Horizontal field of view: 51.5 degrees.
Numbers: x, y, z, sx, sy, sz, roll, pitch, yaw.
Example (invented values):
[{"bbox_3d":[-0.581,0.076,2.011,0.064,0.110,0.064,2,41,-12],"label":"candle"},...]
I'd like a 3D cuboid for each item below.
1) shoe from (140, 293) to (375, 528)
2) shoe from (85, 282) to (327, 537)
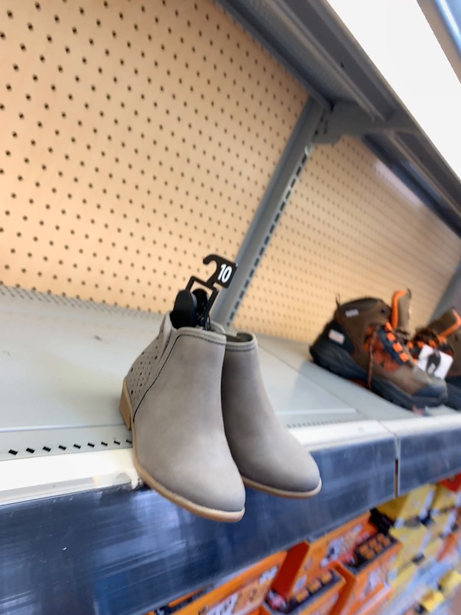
[{"bbox_3d":[0.014,0.080,0.439,0.186,0.113,0.074,29,26,33],"label":"shoe"},{"bbox_3d":[-0.035,0.069,0.396,0.087,0.103,0.197,13,15,-37],"label":"shoe"}]
